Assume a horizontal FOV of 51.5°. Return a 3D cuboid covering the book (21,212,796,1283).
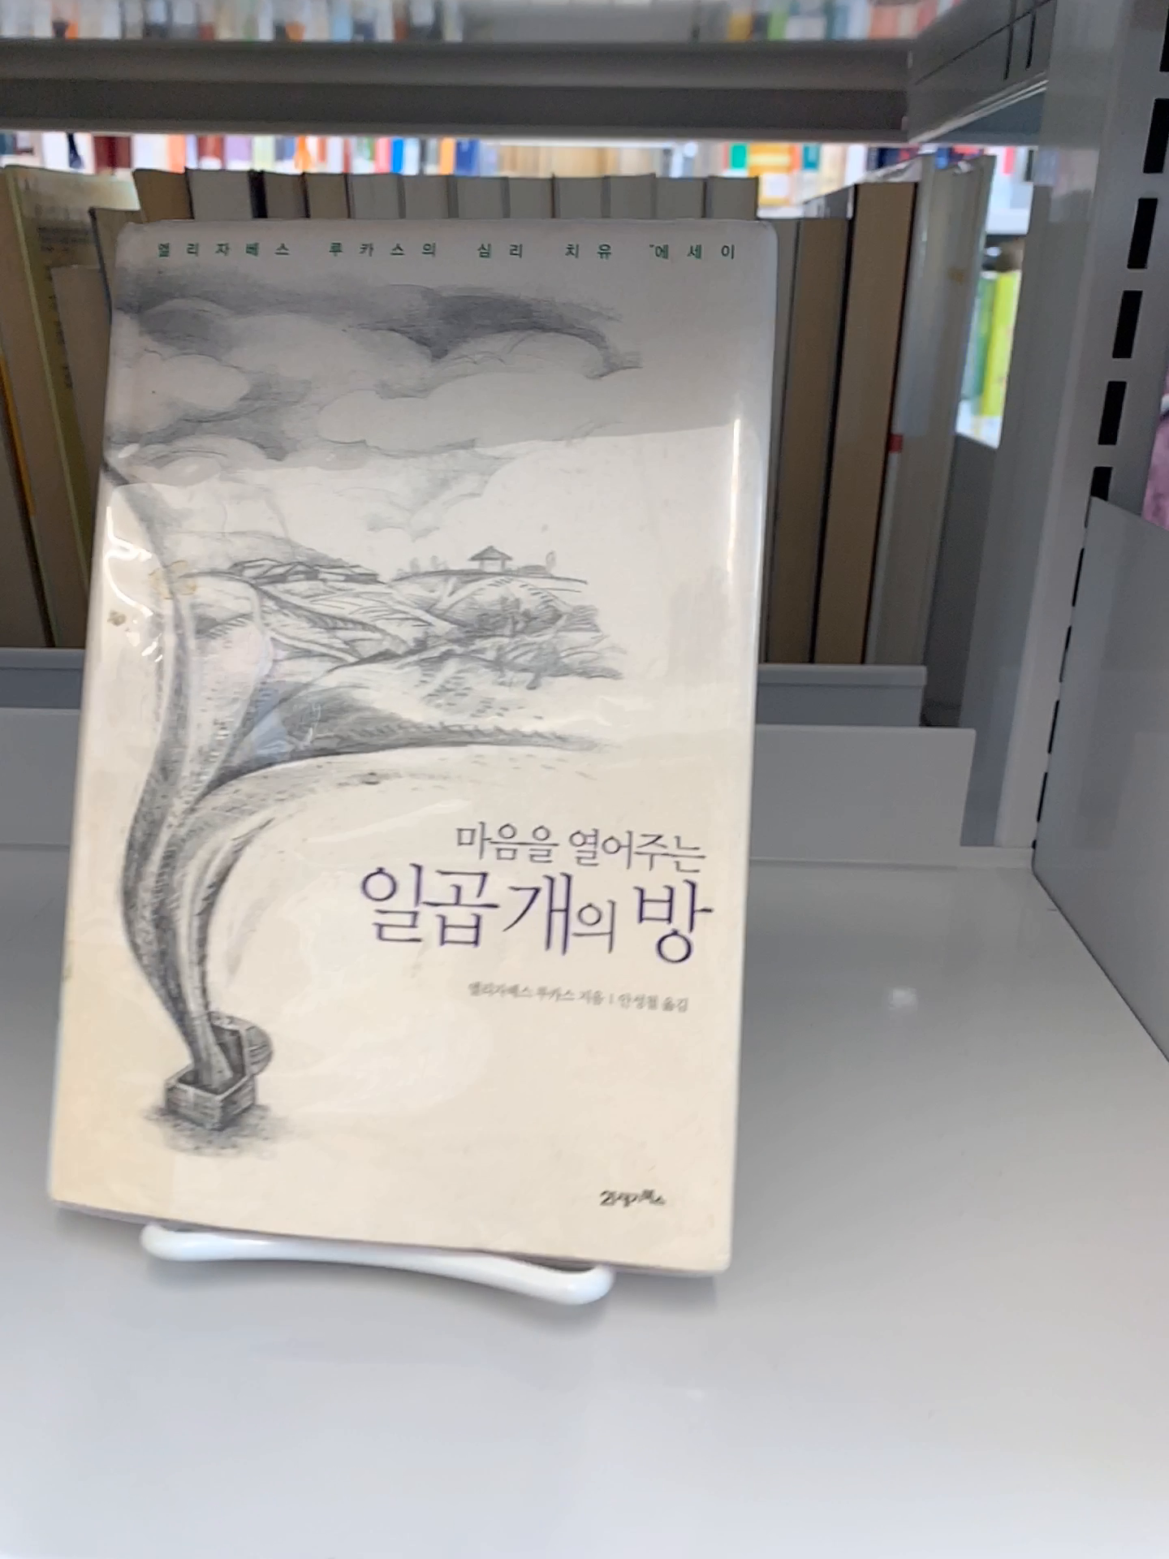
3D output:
[{"bbox_3d":[-0.035,-0.010,0.236,0.137,0.192,0.019,4,0,7],"label":"book"}]
